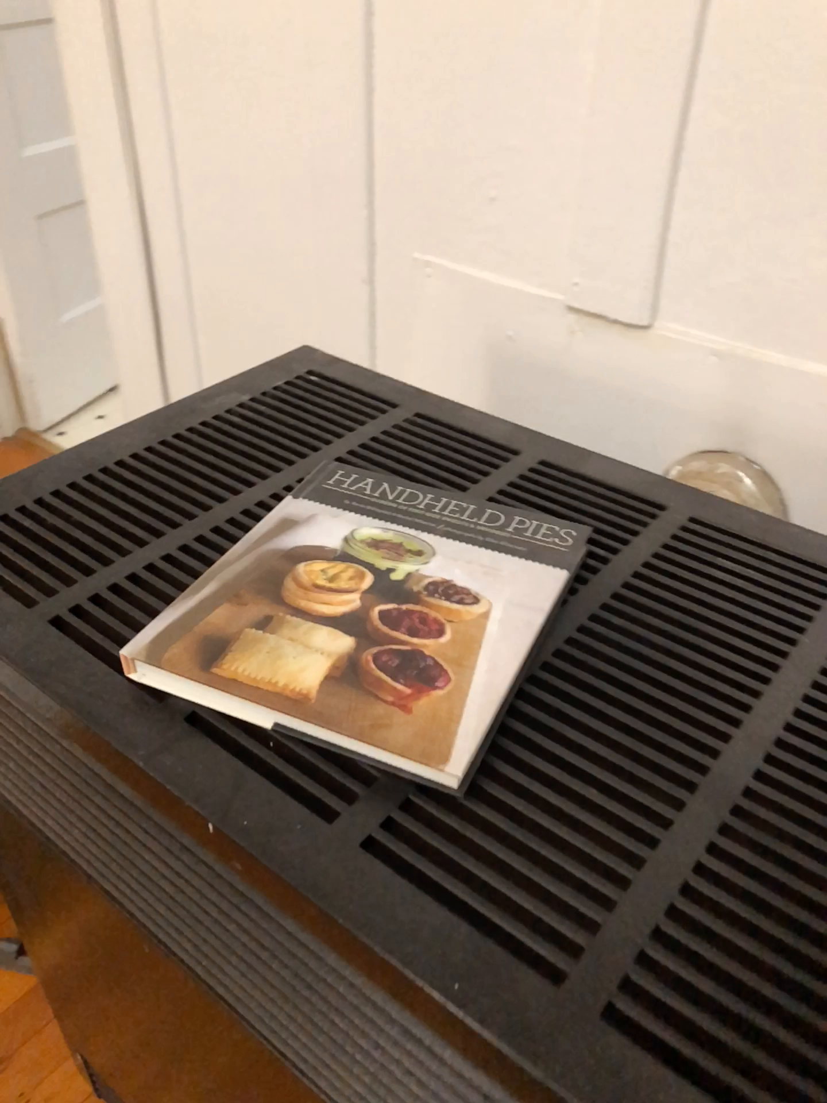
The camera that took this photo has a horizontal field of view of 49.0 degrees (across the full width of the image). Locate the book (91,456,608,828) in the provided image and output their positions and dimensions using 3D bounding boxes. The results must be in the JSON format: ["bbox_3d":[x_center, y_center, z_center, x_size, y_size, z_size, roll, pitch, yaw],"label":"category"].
[{"bbox_3d":[-0.021,0.027,0.506,0.200,0.020,0.231,14,37,20],"label":"book"}]
